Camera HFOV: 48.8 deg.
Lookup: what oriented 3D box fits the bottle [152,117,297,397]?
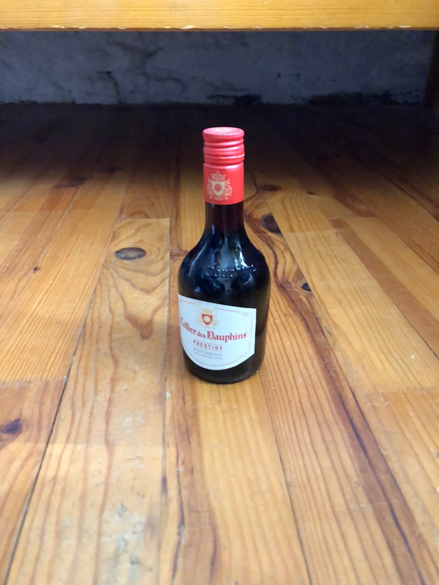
[{"bbox_3d":[0.004,-0.023,0.327,0.070,0.169,0.060,11,29,17],"label":"bottle"}]
